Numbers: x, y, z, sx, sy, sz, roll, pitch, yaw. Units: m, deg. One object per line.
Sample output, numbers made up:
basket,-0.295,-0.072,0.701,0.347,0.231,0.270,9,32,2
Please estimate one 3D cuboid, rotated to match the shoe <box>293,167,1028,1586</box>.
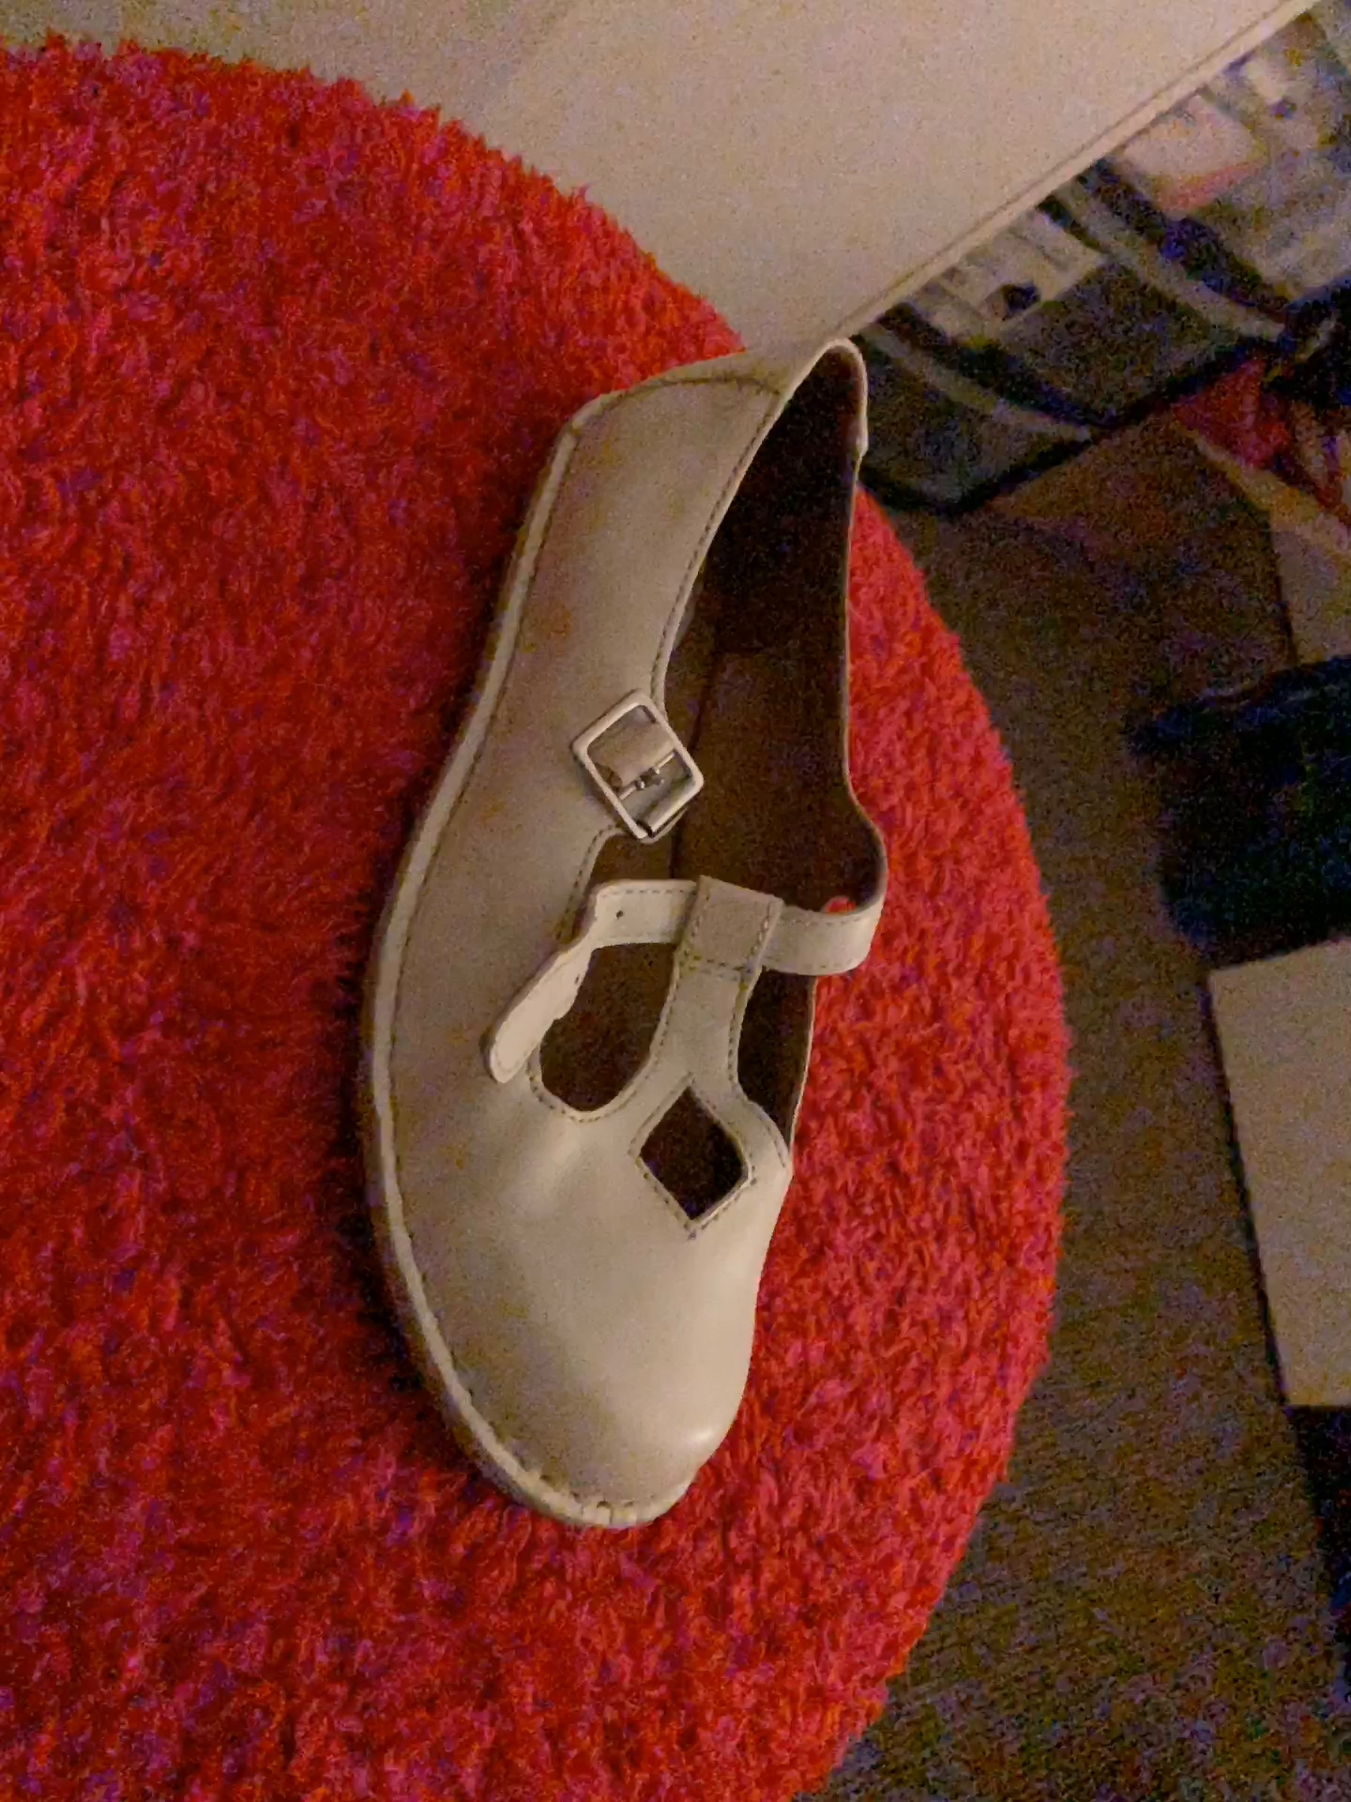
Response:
shoe,-0.002,-0.005,0.301,0.100,0.089,0.261,17,64,-37
